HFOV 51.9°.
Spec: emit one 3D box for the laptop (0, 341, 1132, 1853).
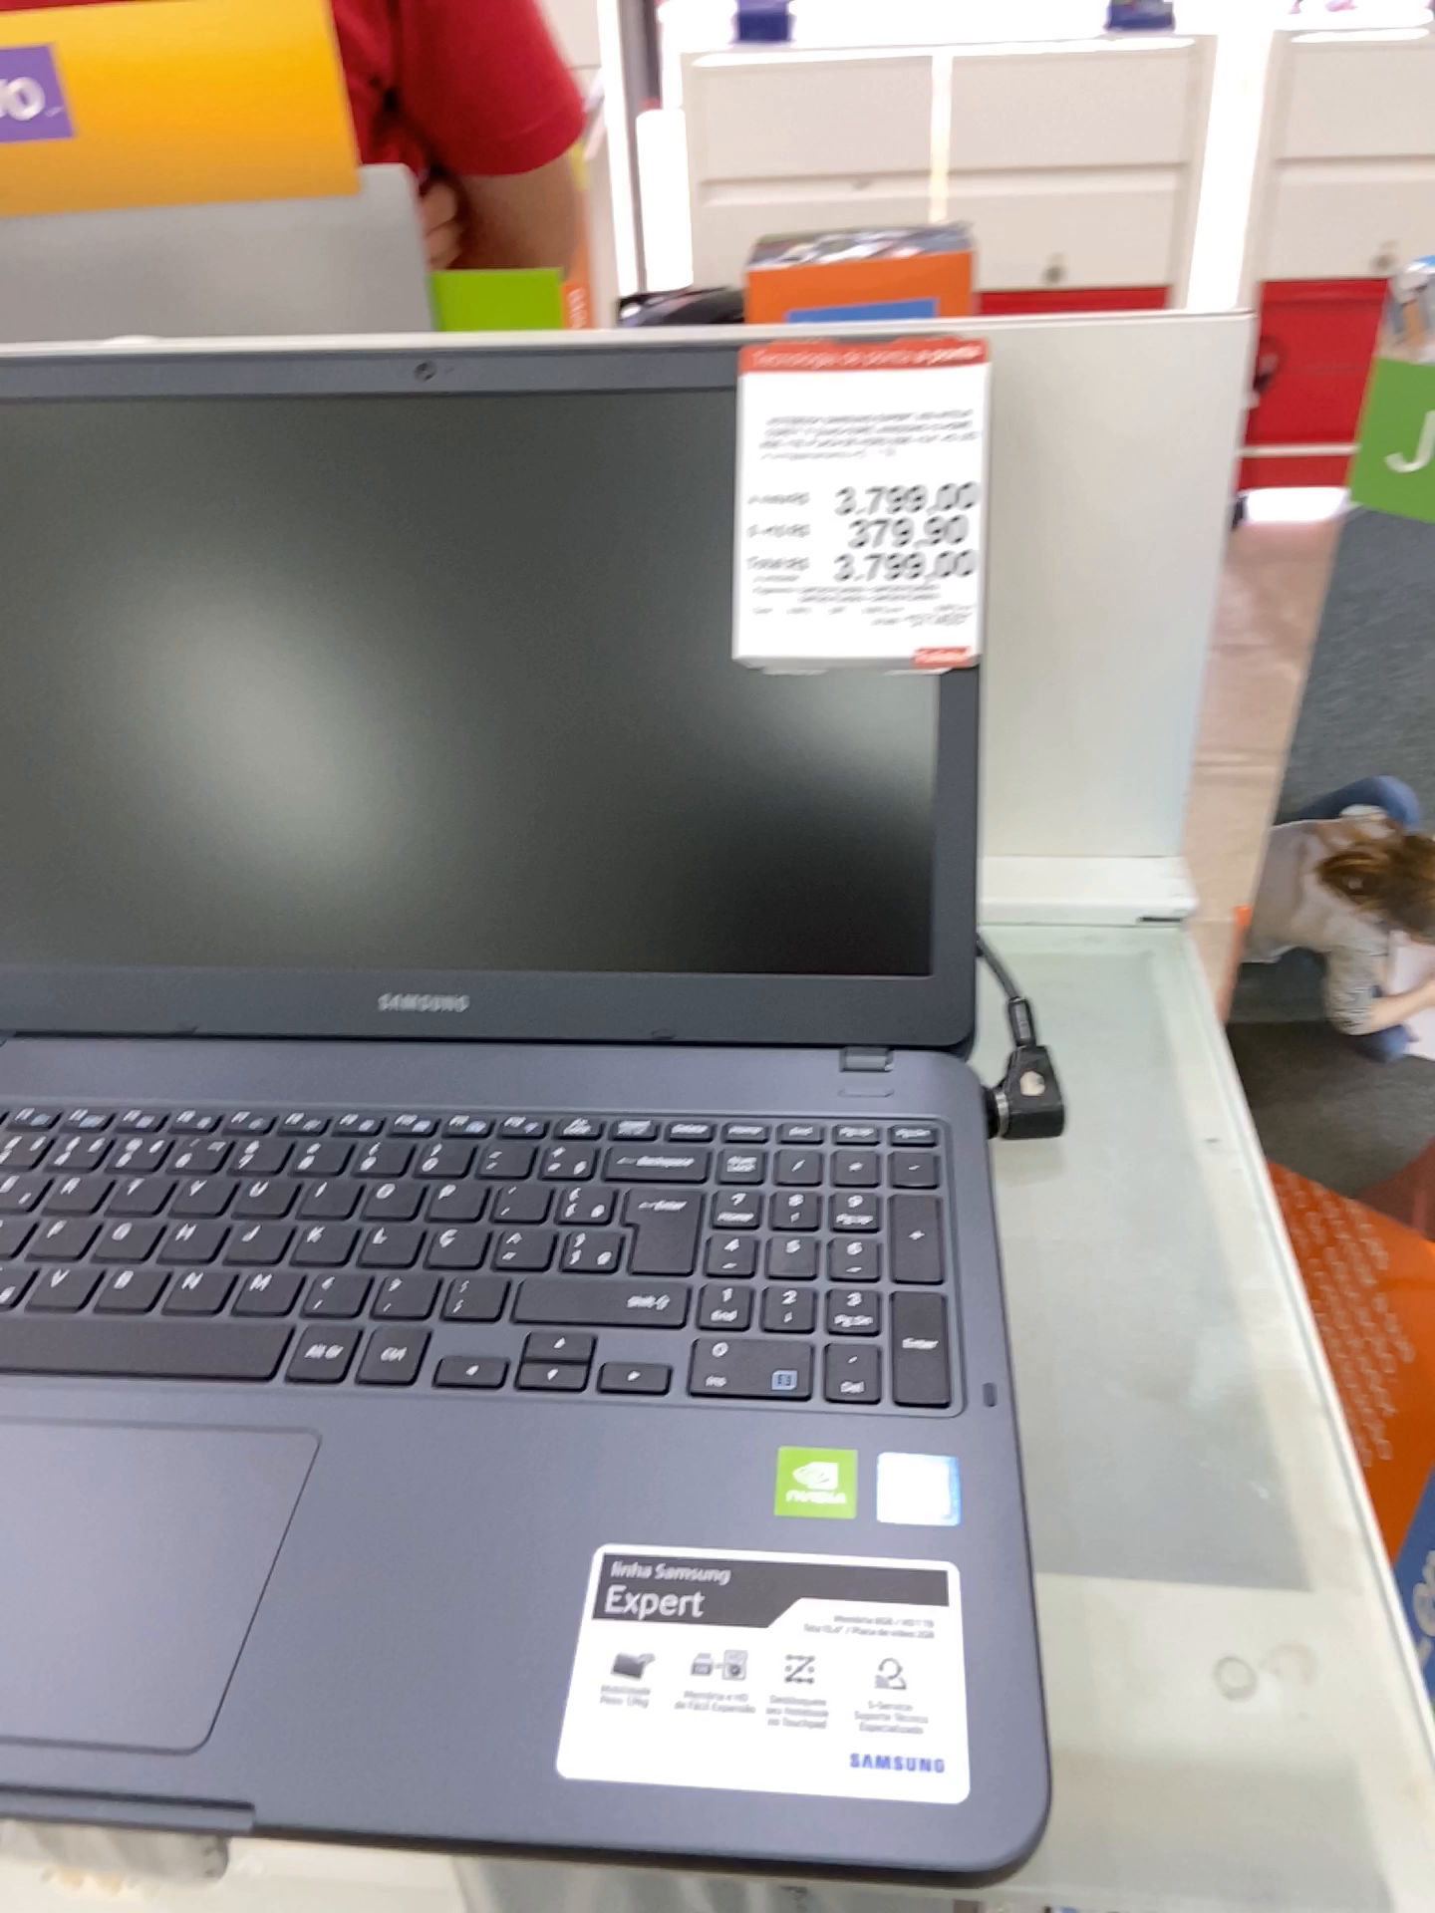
[{"bbox_3d":[-0.112,-0.019,0.395,0.370,0.192,0.371,1,33,7],"label":"laptop"}]
